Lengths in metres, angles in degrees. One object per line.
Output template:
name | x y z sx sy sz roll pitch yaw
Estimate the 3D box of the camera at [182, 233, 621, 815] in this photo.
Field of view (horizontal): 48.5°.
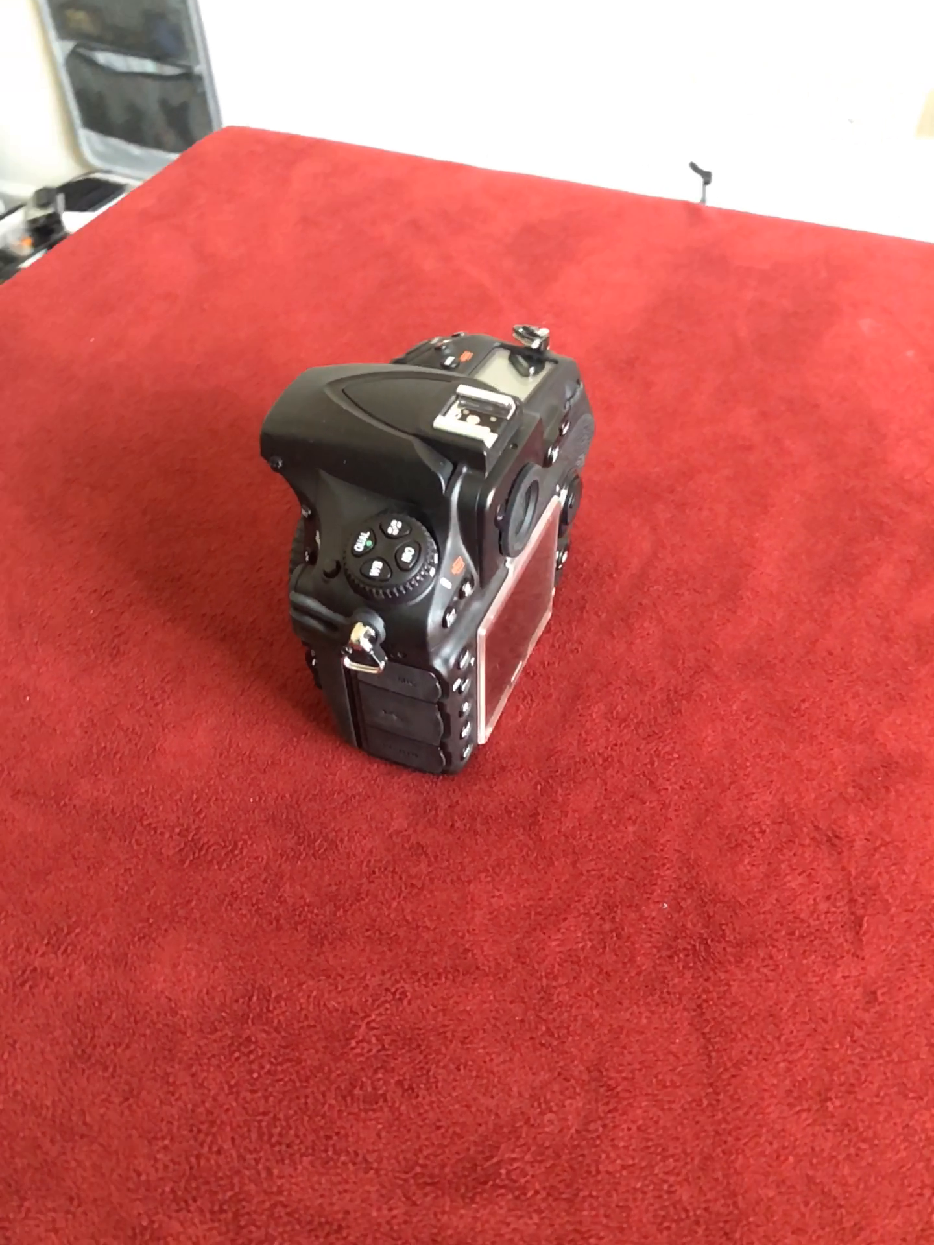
camera | -0.010 -0.038 0.369 0.083 0.129 0.146 15 50 17
